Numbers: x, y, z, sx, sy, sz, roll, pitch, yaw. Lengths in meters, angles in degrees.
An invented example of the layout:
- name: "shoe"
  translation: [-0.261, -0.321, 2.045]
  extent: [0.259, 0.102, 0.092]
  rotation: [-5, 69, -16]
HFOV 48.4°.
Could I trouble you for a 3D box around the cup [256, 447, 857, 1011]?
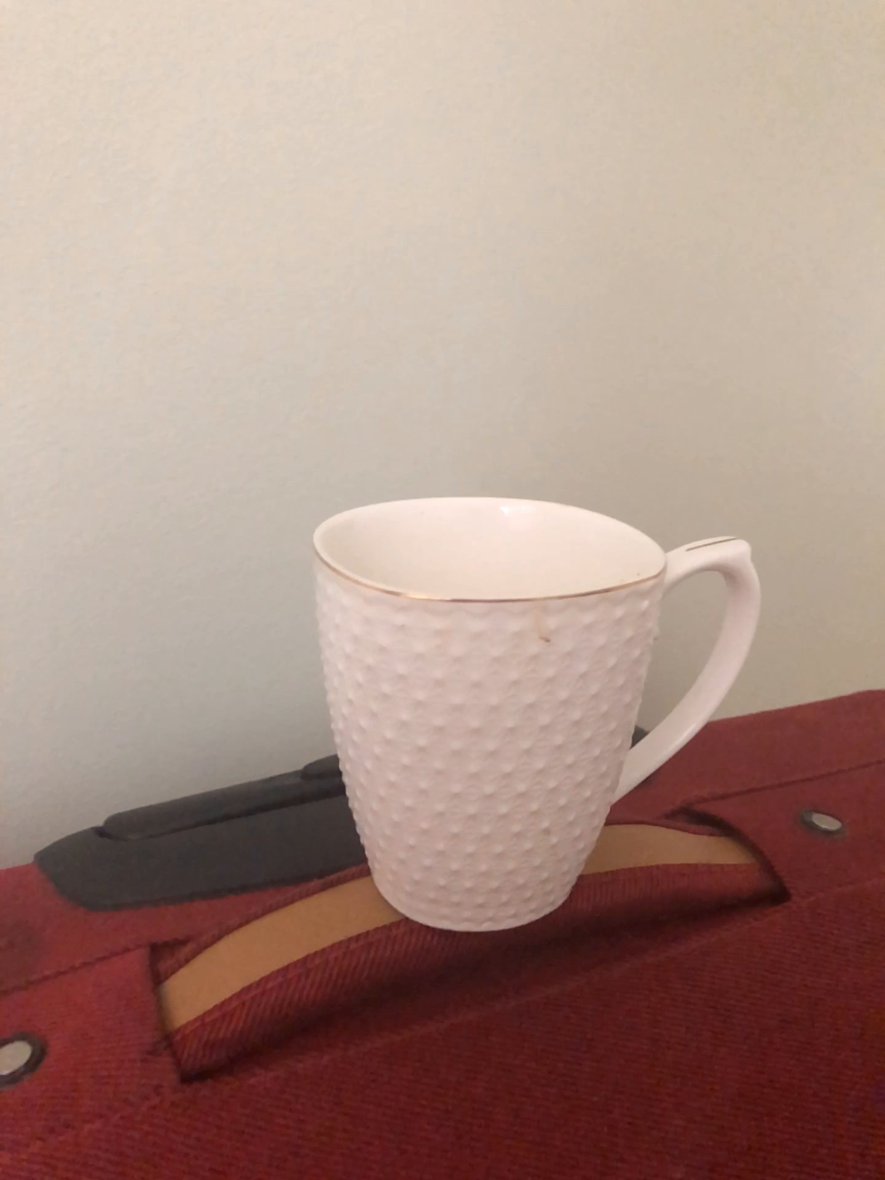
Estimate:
- name: "cup"
  translation: [0.024, 0.021, 0.236]
  extent: [0.112, 0.084, 0.075]
  rotation: [-12, 25, -29]
